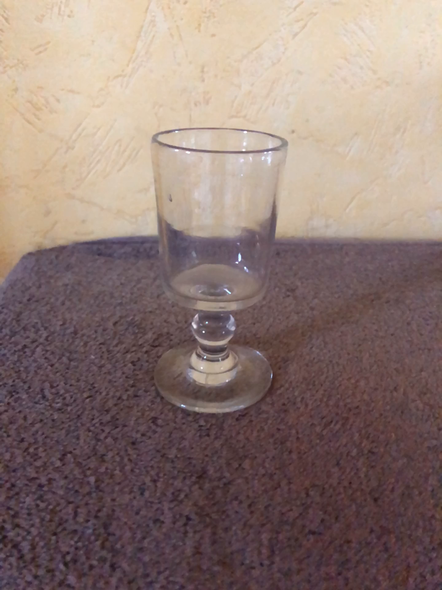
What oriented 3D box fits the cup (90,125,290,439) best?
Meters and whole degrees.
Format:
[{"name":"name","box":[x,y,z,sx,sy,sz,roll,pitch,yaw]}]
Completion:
[{"name":"cup","box":[-0.009,-0.008,0.207,0.060,0.109,0.060,2,27,-1]}]
